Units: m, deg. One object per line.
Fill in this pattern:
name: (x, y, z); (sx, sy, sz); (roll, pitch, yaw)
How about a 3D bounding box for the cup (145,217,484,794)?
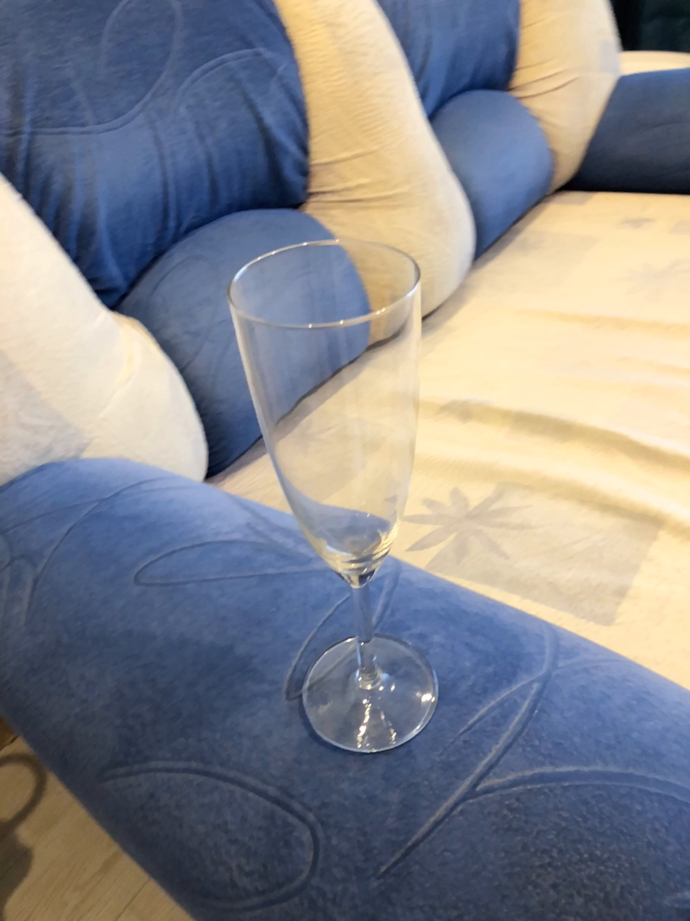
cup: (0.001, 0.025, 0.304); (0.076, 0.214, 0.072); (-6, 36, 4)
